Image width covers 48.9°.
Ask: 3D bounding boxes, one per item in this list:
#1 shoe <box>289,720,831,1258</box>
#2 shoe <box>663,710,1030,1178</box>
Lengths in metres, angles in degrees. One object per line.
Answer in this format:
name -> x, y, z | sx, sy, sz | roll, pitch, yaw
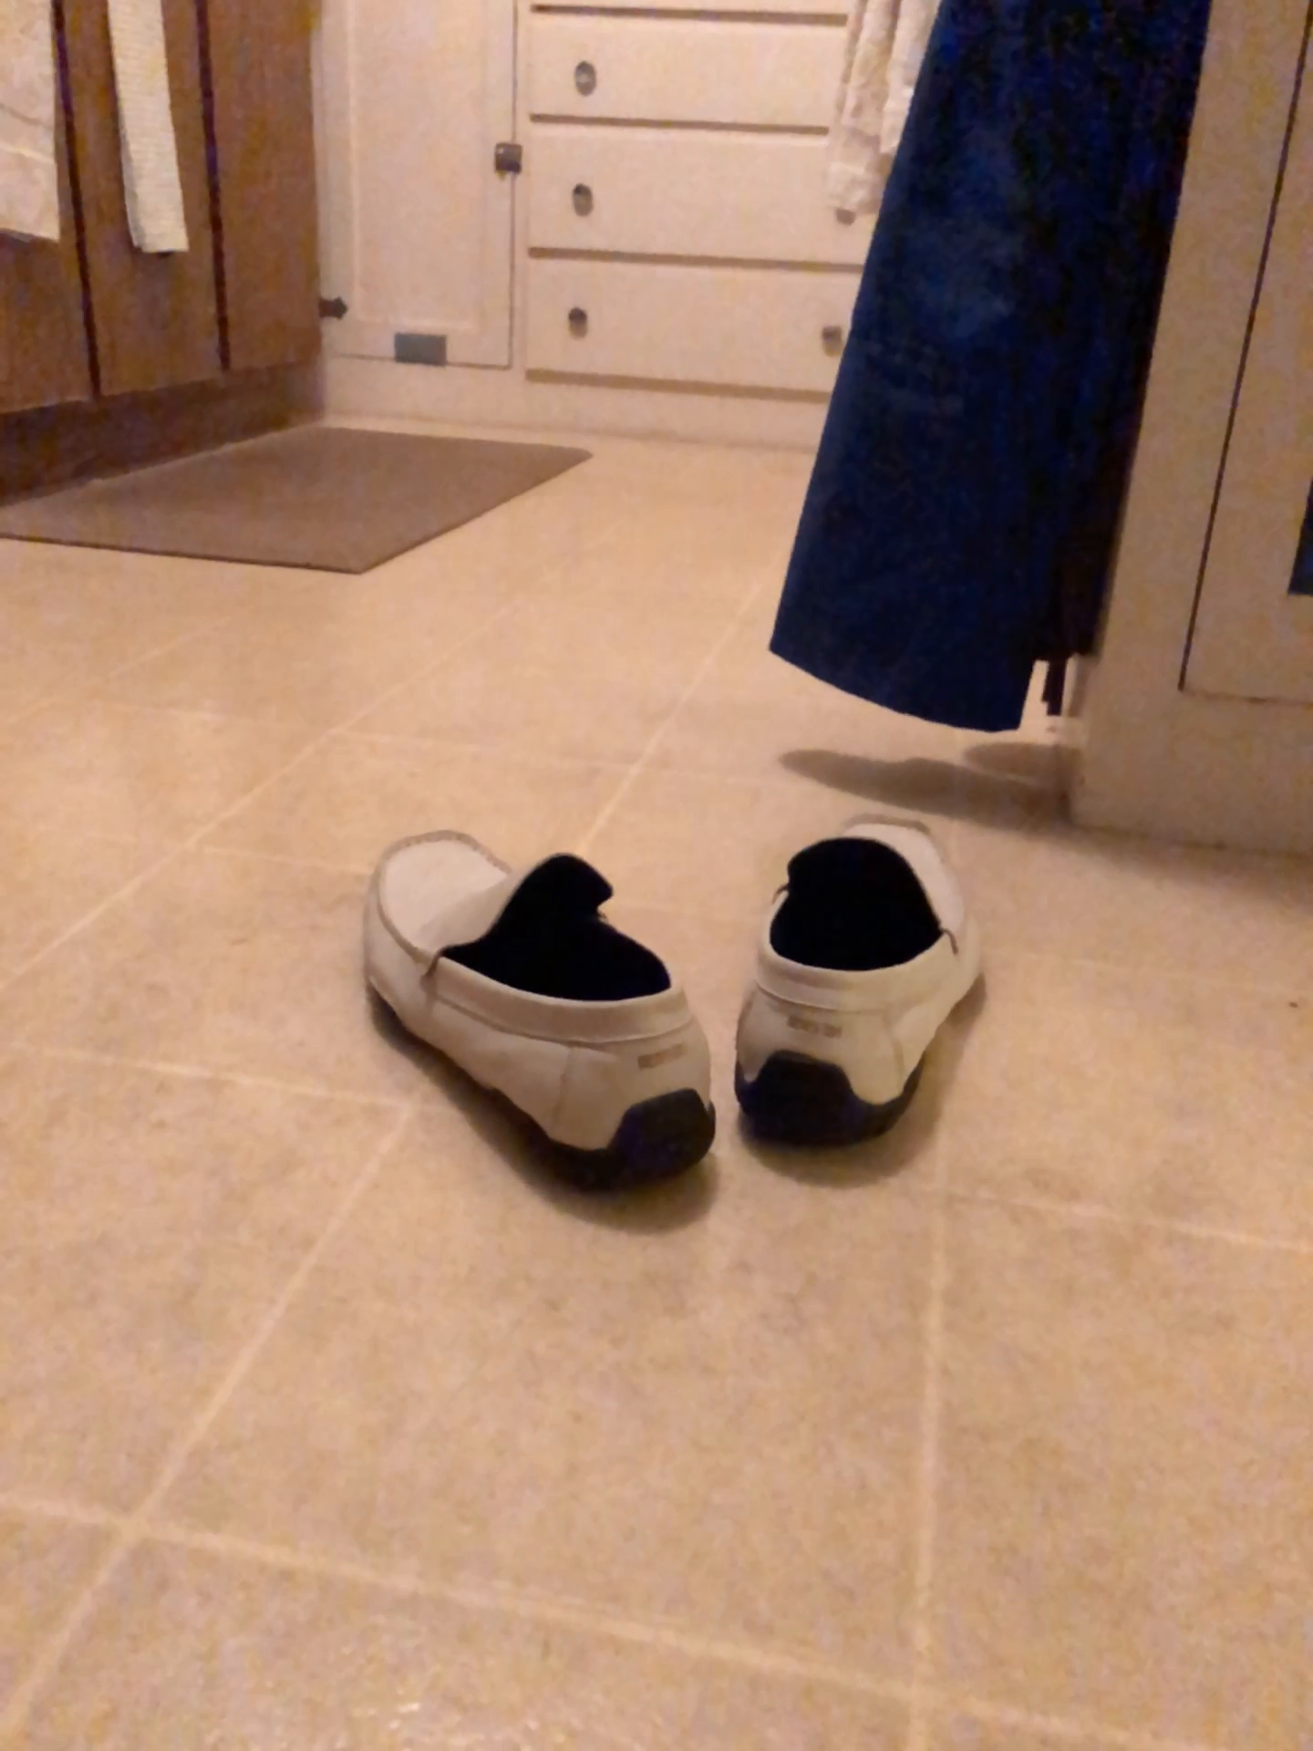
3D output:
shoe -> -0.062, 0.027, 0.650 | 0.111, 0.097, 0.307 | -11, 27, -28
shoe -> 0.104, 0.013, 0.700 | 0.110, 0.097, 0.291 | 10, 25, 16
